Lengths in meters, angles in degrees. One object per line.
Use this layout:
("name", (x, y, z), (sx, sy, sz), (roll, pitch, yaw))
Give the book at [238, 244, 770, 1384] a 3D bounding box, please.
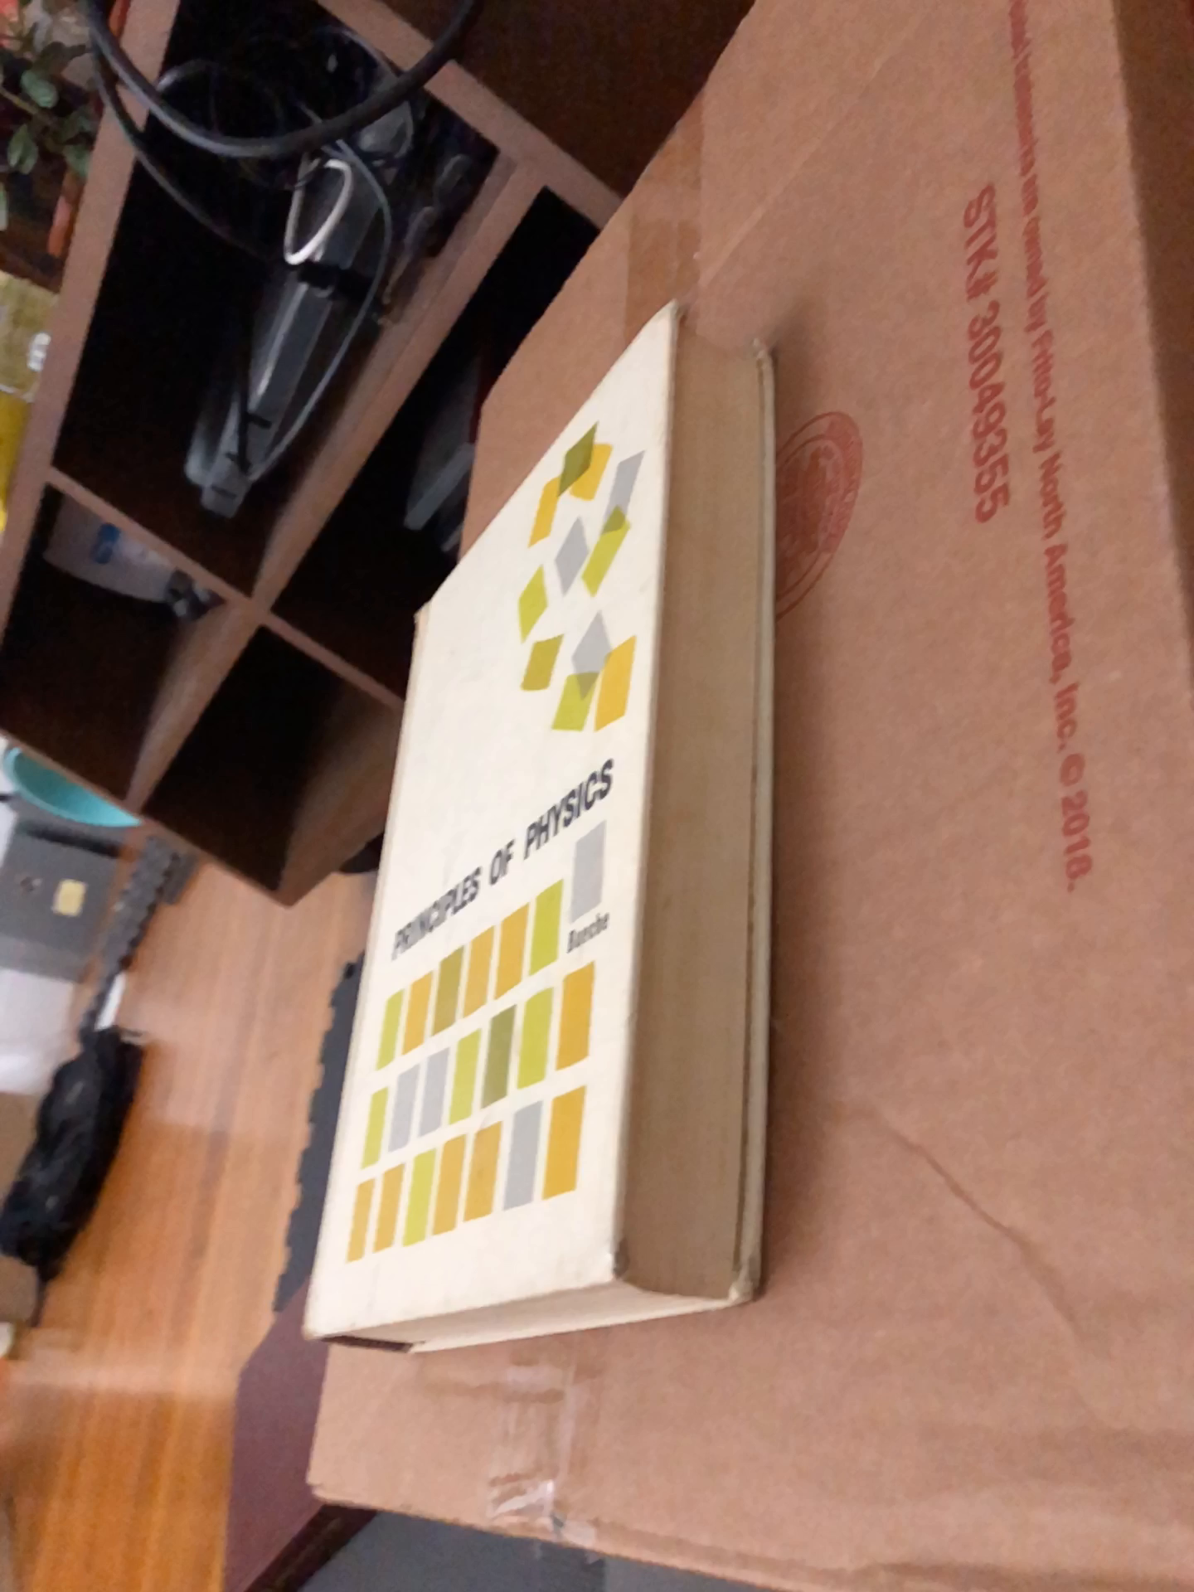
("book", (-0.026, 0.014, 0.346), (0.180, 0.040, 0.250), (-38, 40, 53))
